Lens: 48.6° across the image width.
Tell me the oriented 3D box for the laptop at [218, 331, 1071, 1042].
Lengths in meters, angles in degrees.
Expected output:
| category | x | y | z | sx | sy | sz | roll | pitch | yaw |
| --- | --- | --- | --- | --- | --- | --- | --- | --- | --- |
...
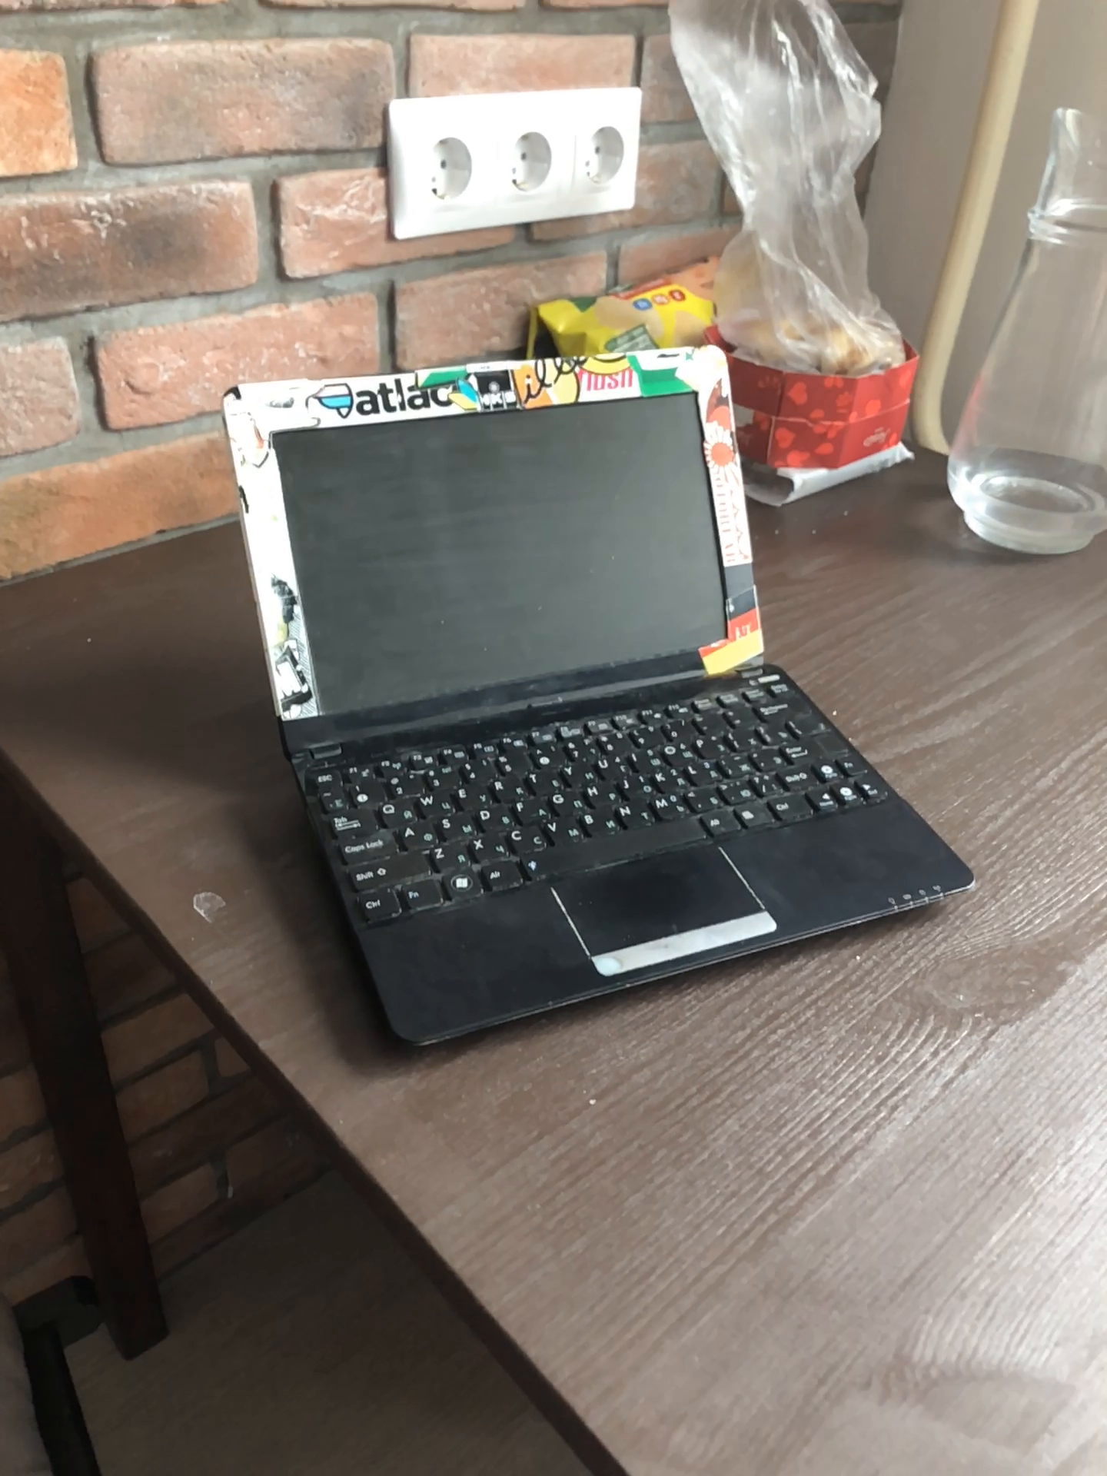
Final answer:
| category | x | y | z | sx | sy | sz | roll | pitch | yaw |
| --- | --- | --- | --- | --- | --- | --- | --- | --- | --- |
| laptop | 0.014 | -0.053 | 0.528 | 0.257 | 0.140 | 0.269 | -10 | 38 | -20 |
